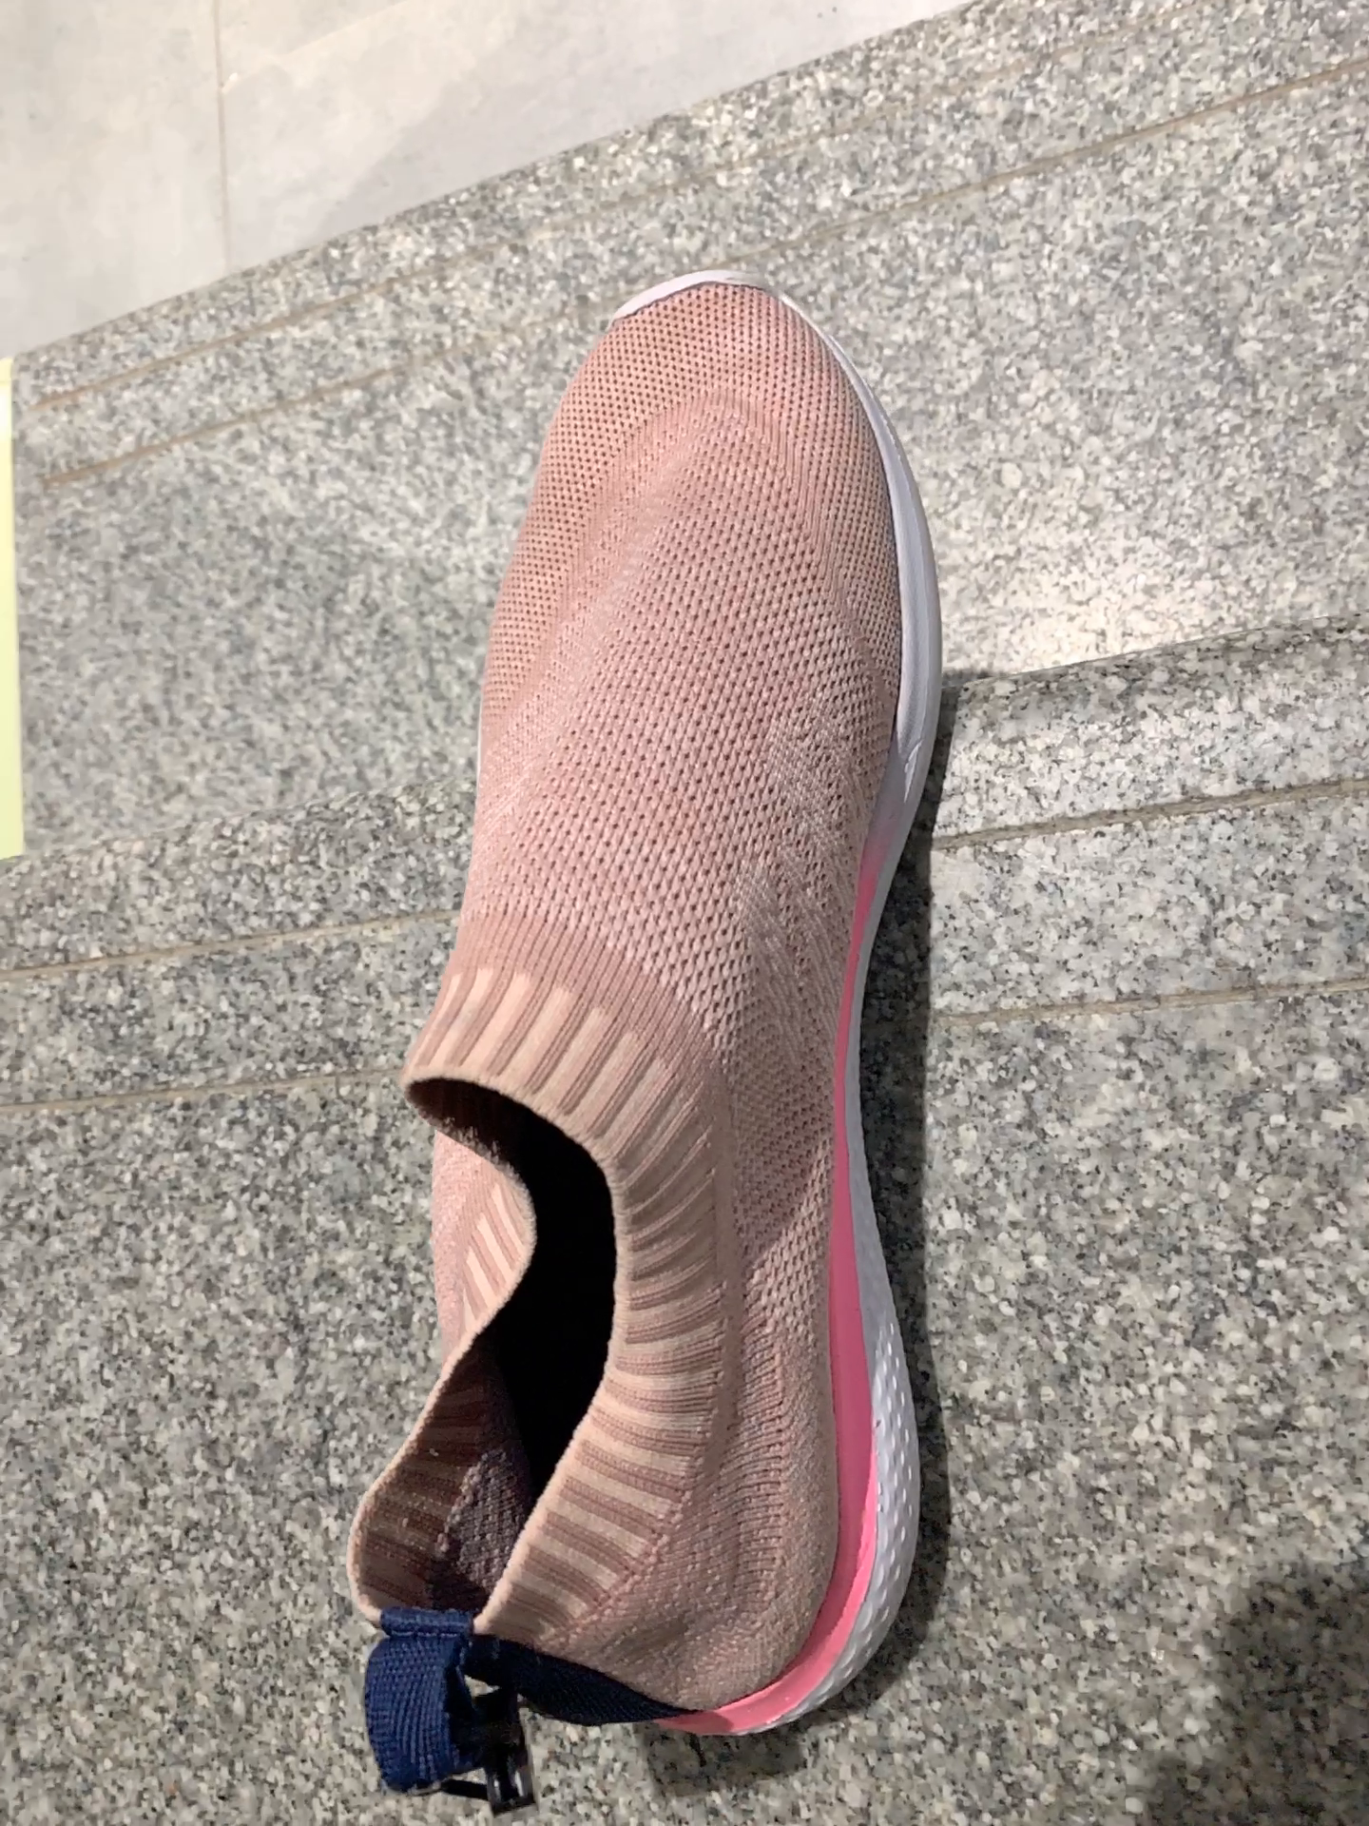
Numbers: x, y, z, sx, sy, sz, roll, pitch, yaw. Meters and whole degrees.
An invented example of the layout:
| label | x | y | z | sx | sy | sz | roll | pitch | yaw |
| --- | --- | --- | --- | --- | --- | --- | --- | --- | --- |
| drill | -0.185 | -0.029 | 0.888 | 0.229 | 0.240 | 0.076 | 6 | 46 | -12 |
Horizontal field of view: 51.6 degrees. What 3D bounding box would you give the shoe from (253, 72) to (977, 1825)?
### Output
| label | x | y | z | sx | sy | sz | roll | pitch | yaw |
| --- | --- | --- | --- | --- | --- | --- | --- | --- | --- |
| shoe | -0.008 | 0.004 | 0.257 | 0.100 | 0.080 | 0.250 | -2 | 84 | 24 |
